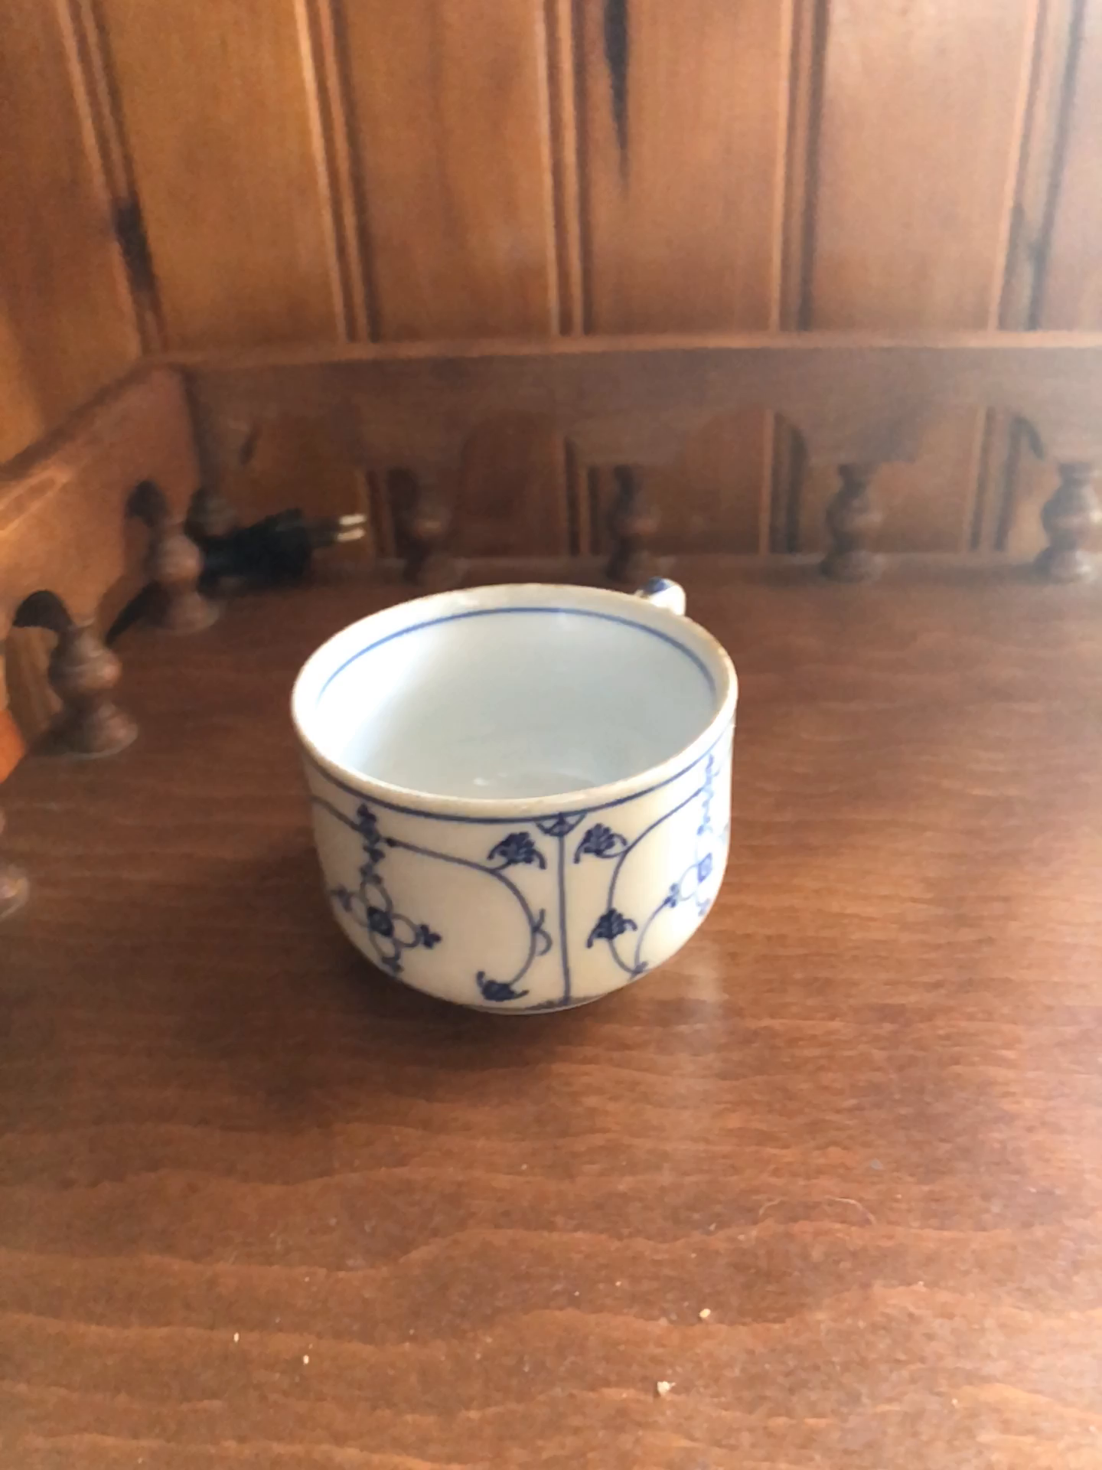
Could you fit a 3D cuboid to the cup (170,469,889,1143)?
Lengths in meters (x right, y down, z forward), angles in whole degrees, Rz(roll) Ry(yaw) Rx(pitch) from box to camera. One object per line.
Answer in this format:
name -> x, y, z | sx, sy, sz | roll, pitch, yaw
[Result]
cup -> 0.005, 0.001, 0.241 | 0.080, 0.060, 0.121 | 16, 36, 27
